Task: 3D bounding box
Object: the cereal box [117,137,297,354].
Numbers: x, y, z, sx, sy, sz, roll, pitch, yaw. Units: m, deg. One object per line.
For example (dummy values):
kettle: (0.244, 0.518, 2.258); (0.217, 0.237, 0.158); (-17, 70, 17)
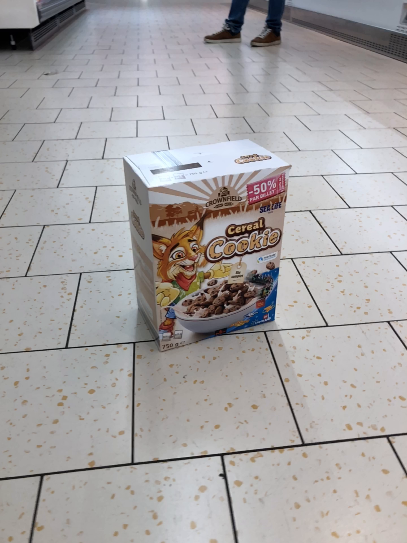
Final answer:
cereal box: (0.002, -0.040, 0.640); (0.200, 0.249, 0.120); (-12, 35, -19)
